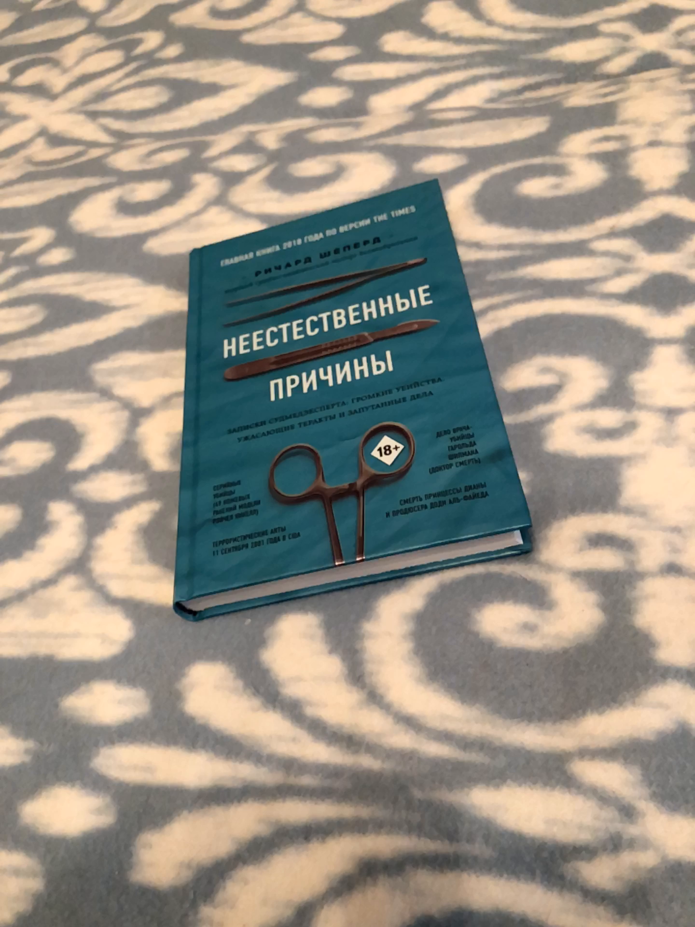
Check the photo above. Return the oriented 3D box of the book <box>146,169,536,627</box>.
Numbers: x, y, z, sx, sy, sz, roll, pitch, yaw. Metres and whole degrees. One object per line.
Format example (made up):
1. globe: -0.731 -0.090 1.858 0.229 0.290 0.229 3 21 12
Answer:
1. book: -0.013 -0.044 0.361 0.149 0.025 0.219 -12 53 8
